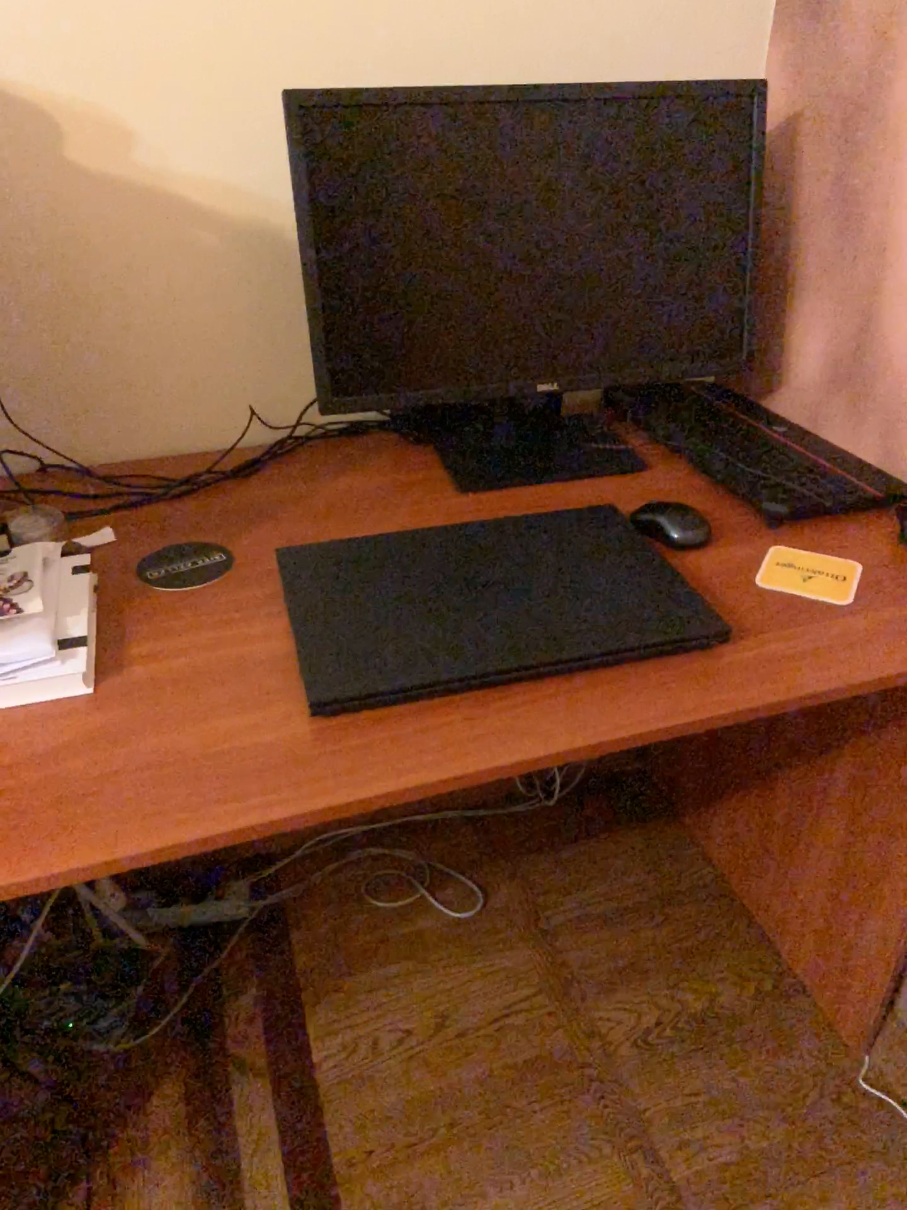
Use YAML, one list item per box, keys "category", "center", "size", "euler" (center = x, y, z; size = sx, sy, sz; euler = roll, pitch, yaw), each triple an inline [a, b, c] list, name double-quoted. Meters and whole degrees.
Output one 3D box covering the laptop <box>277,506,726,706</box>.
- category: "laptop"
  center: [0.030, -0.015, 0.849]
  size: [0.360, 0.002, 0.249]
  euler: [-8, 33, -14]
